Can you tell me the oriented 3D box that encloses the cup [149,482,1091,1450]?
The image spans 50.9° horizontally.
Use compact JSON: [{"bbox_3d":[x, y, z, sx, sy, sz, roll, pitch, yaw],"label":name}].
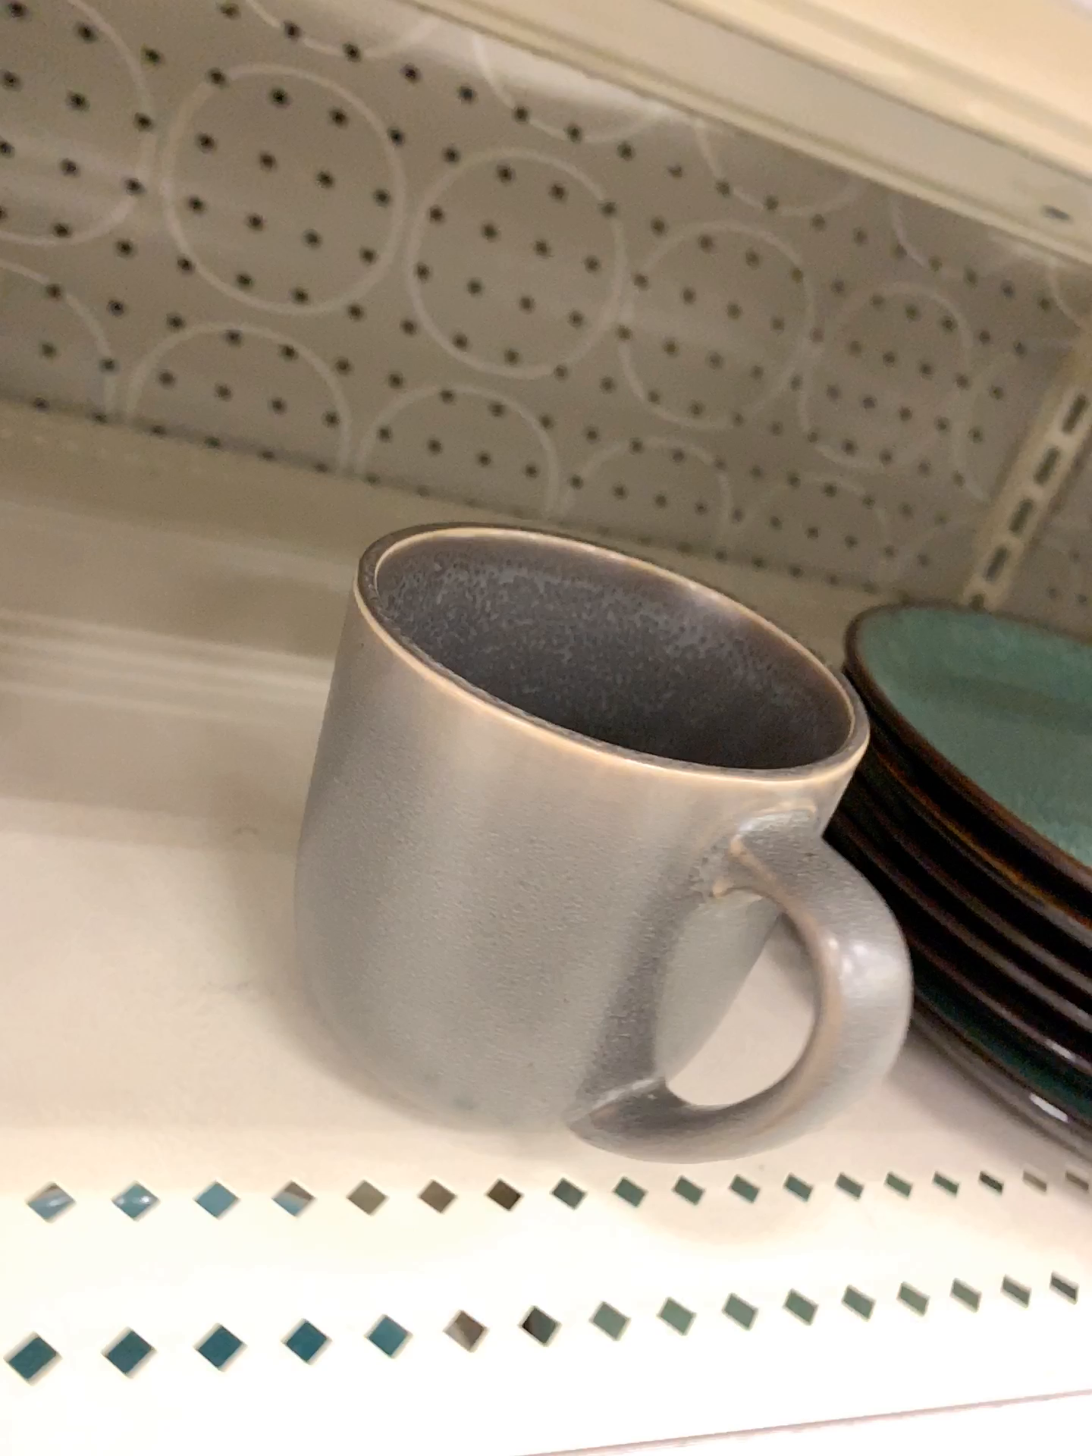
[{"bbox_3d":[0.007,0.023,0.207,0.100,0.080,0.130,-5,36,-40],"label":"cup"}]
